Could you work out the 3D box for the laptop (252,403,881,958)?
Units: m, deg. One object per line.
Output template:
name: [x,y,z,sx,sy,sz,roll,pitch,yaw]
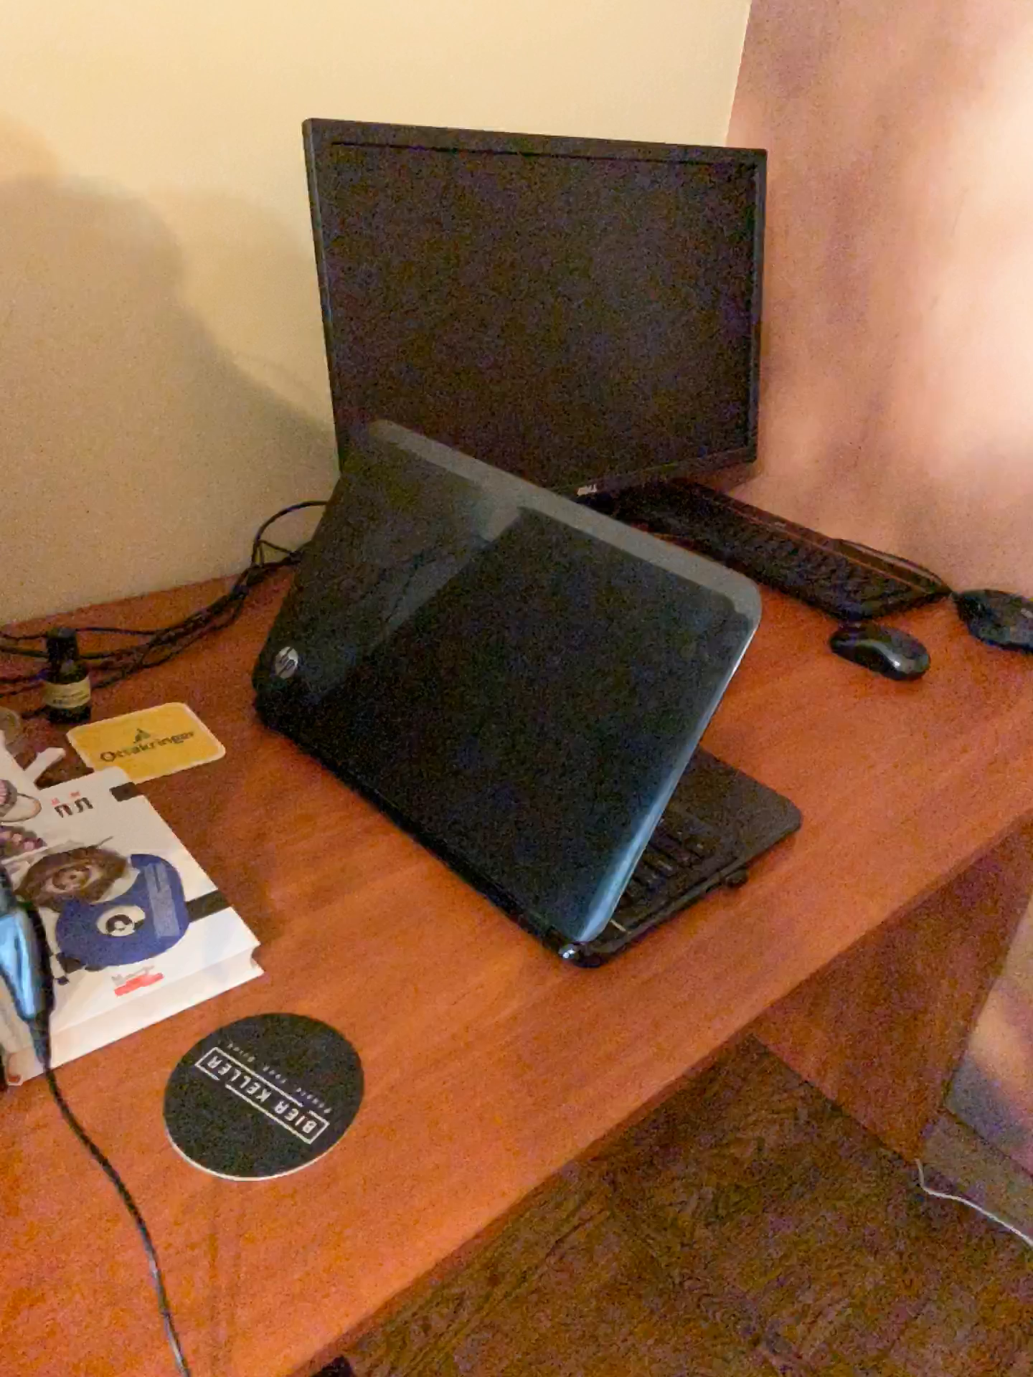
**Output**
laptop: [0.013,-0.039,0.719,0.223,0.198,0.349,-21,40,-40]
